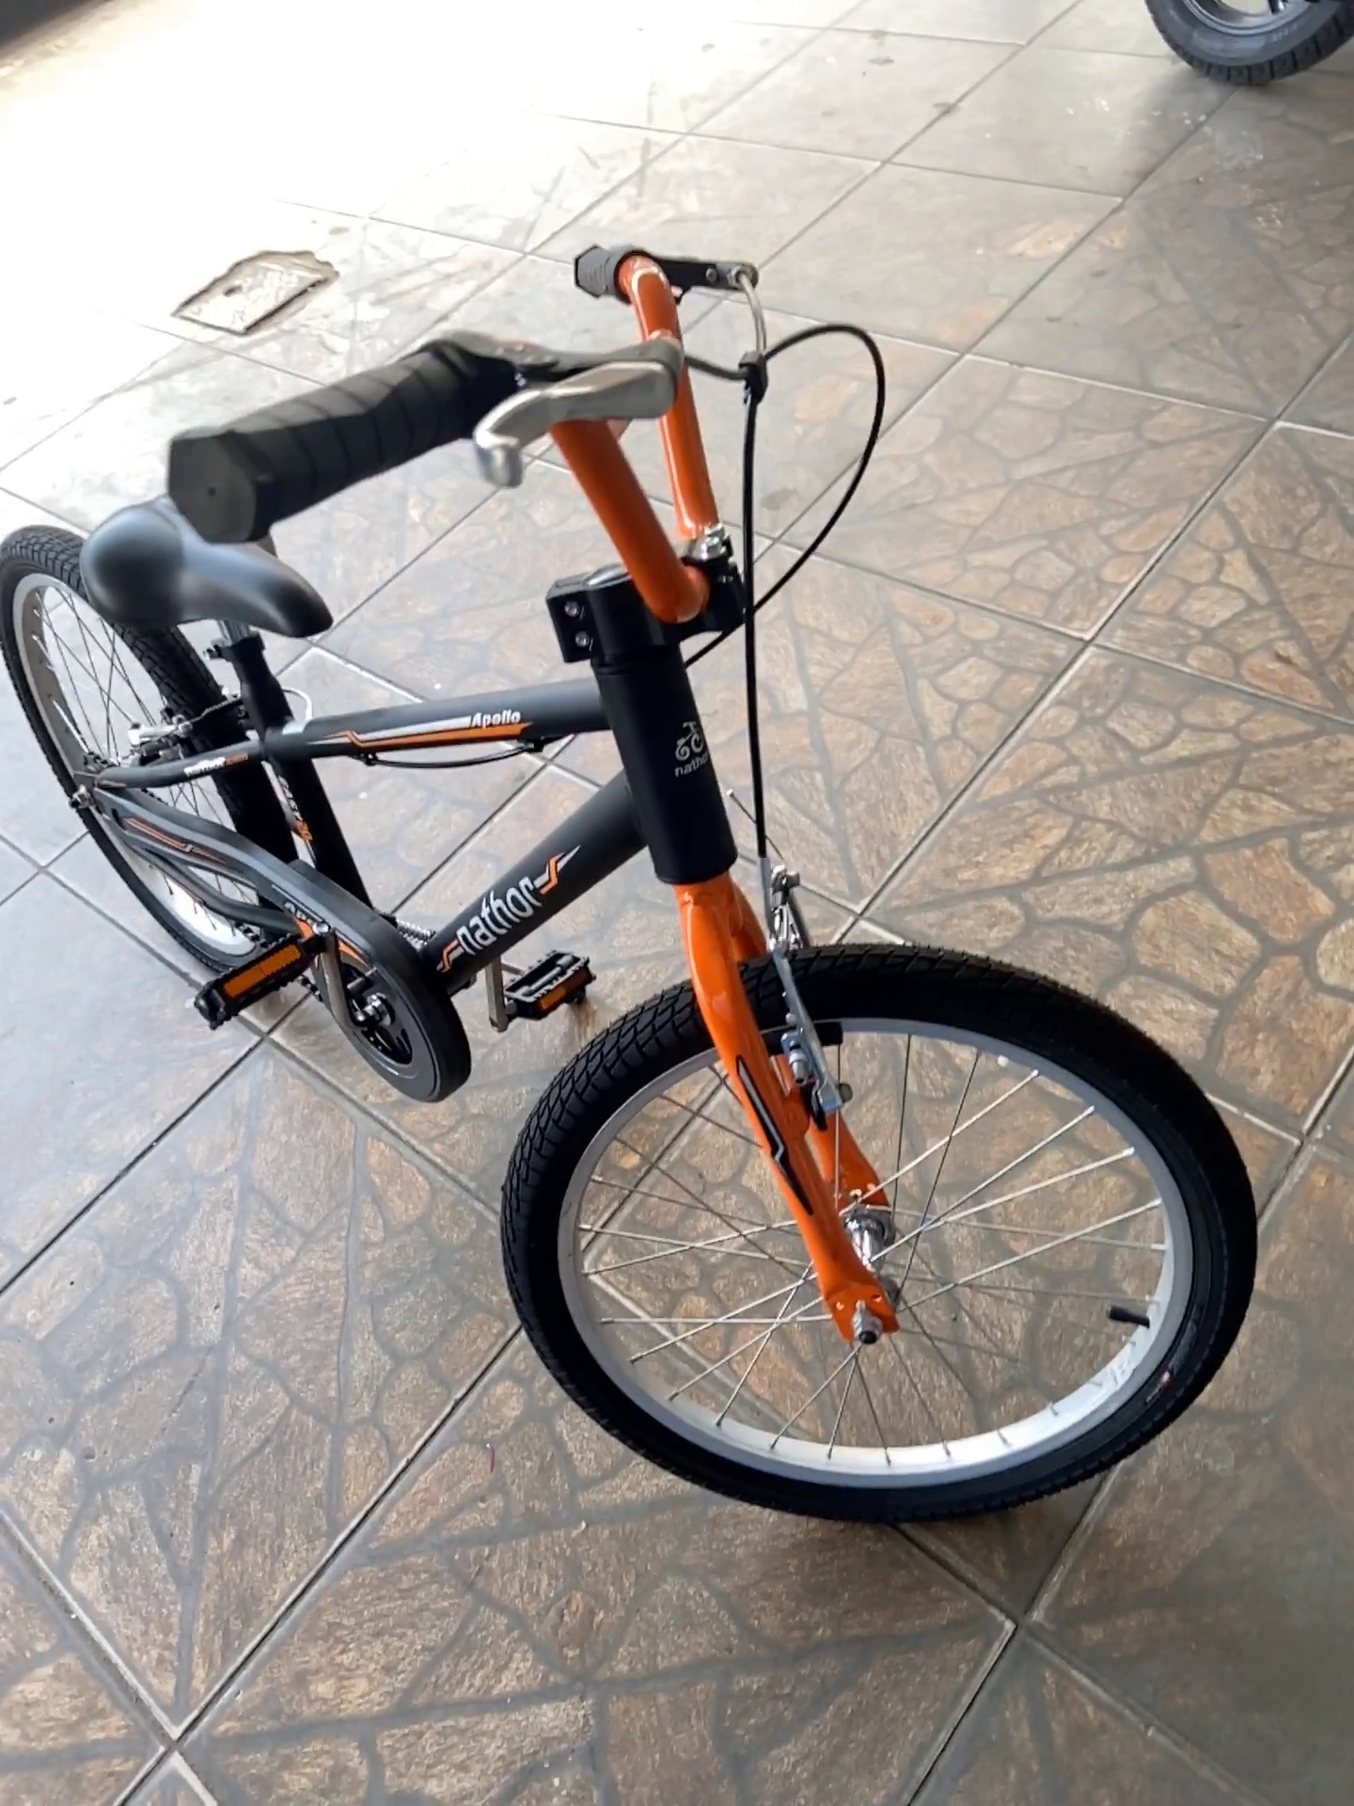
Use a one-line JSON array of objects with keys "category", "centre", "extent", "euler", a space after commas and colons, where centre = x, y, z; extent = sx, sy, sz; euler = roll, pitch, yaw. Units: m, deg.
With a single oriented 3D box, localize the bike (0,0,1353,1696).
[{"category": "bike", "centre": [-0.189, -0.180, 1.096], "extent": [1.352, 0.979, 0.725], "euler": [23, 61, 27]}]
